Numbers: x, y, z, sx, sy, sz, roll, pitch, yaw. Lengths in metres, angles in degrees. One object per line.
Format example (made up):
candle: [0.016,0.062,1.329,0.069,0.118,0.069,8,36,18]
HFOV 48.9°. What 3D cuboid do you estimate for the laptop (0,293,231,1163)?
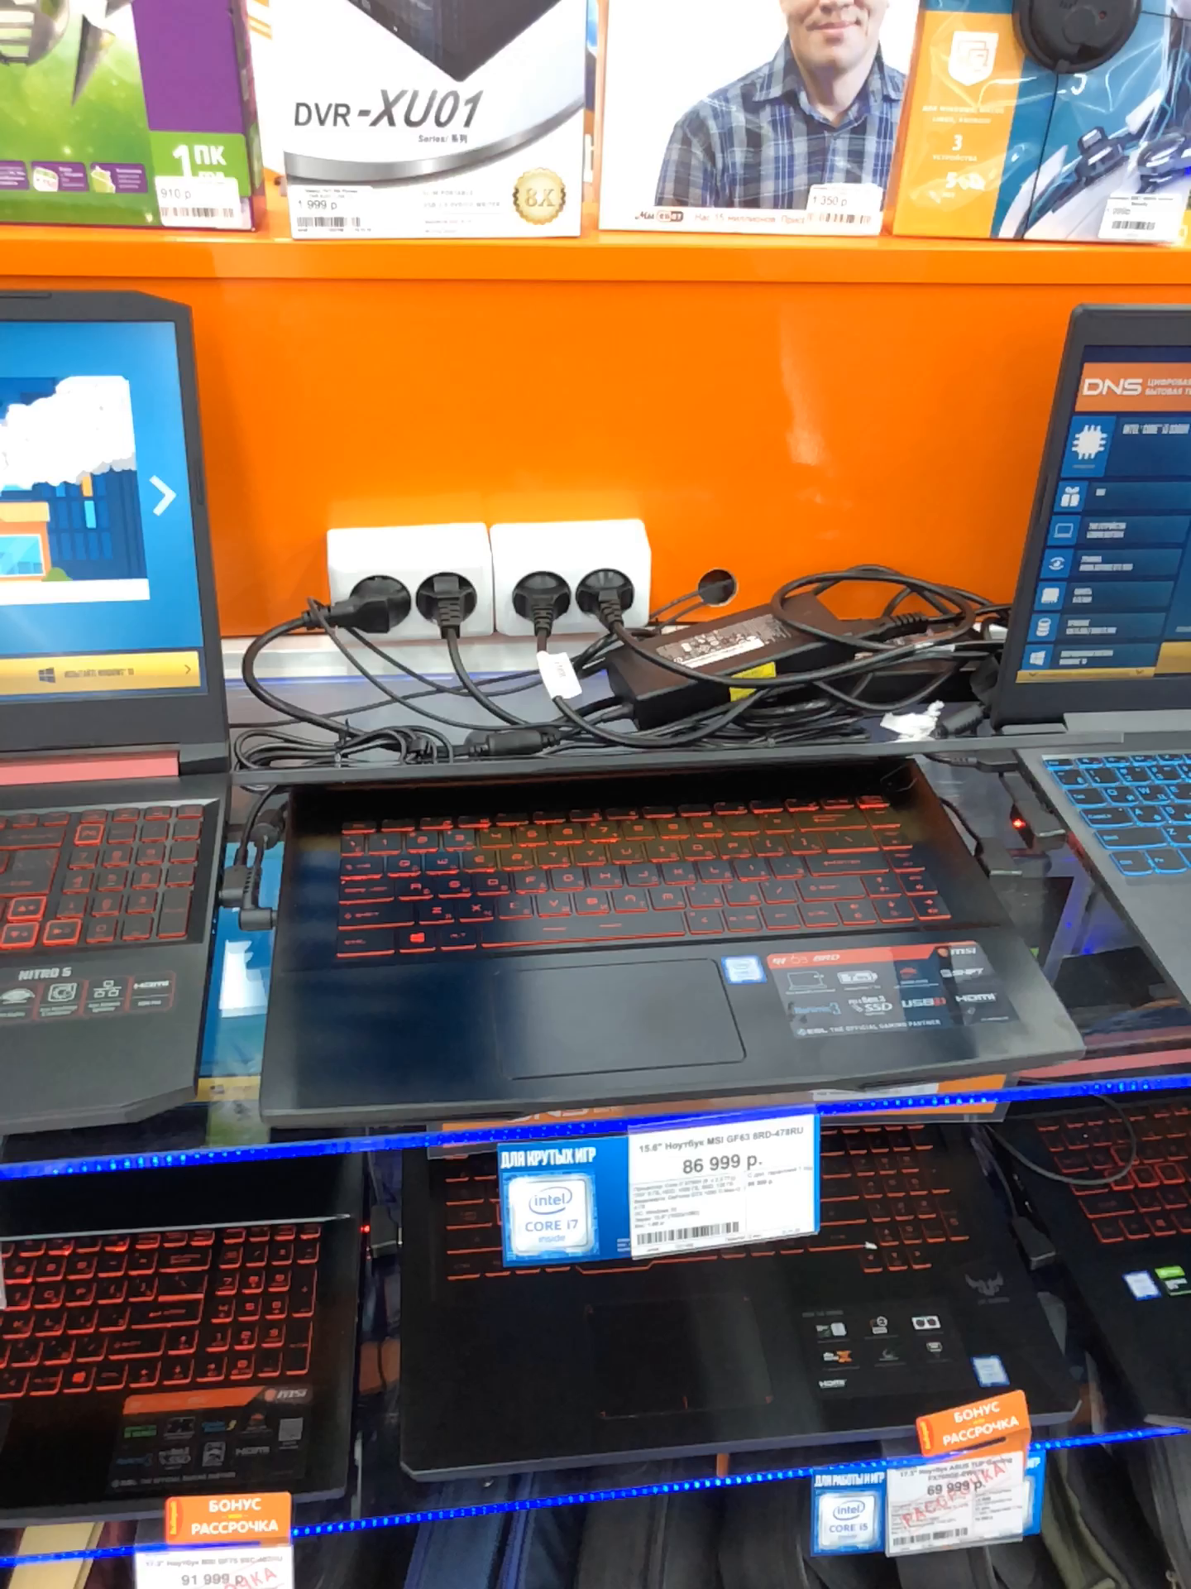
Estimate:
laptop: [-0.371,-0.059,0.574,0.365,0.225,0.331,-3,35,-9]

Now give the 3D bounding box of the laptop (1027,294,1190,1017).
laptop: [0.432,-0.087,0.648,0.326,0.228,0.279,-2,34,-3]

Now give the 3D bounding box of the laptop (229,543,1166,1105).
laptop: [0.028,-0.004,0.603,0.347,0.134,0.226,-3,35,-9]
